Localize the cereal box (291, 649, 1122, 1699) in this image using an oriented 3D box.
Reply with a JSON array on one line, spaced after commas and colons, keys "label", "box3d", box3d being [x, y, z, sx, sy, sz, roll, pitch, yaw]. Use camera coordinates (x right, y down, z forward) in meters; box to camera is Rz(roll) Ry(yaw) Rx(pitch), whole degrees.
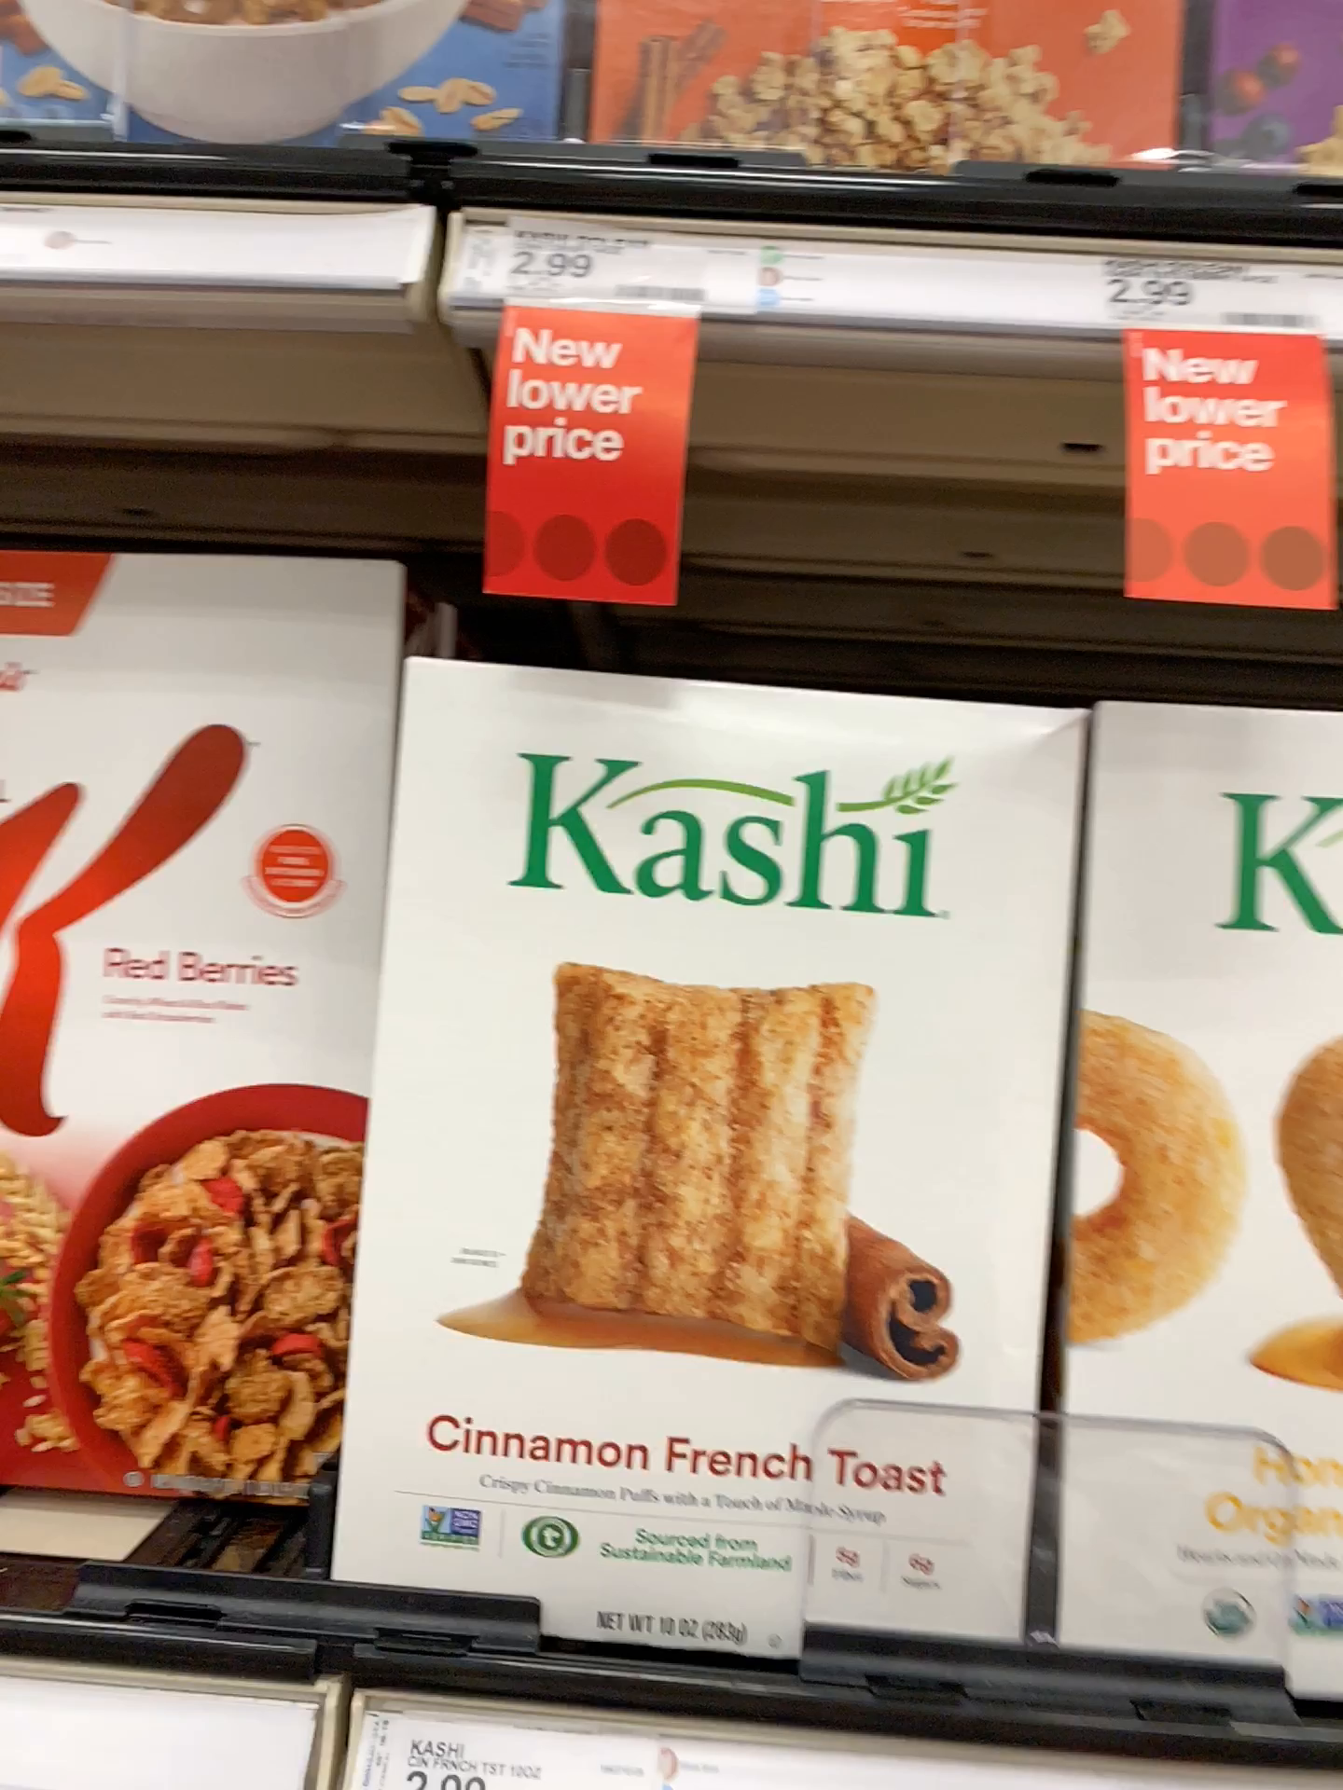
[{"label": "cereal box", "box3d": [0.010, 0.073, 0.410, 0.210, 0.270, 0.060, 4, -1, 4]}]
